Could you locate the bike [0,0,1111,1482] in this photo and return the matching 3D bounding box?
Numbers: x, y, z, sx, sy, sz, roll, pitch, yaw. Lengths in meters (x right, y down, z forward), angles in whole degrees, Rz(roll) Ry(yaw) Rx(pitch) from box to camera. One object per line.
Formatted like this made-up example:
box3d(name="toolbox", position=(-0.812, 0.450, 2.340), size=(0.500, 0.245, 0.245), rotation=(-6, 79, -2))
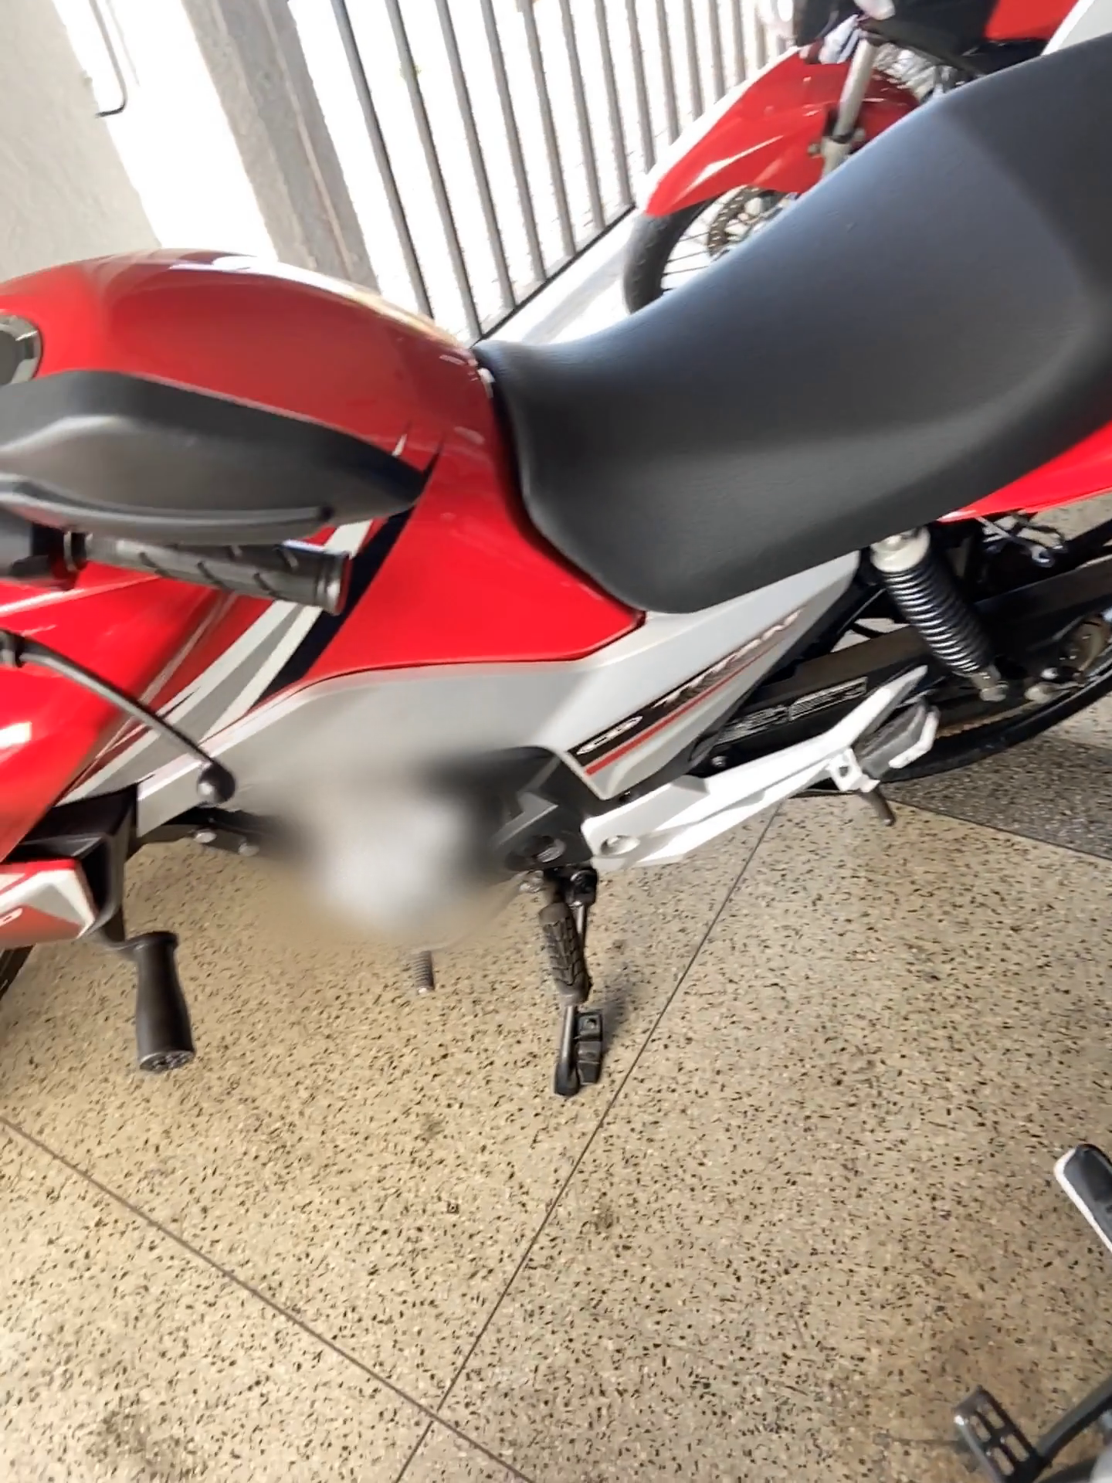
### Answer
box3d(name="bike", position=(-0.089, 0.053, 1.001), size=(1.991, 1.422, 0.872), rotation=(-25, 42, -6))
